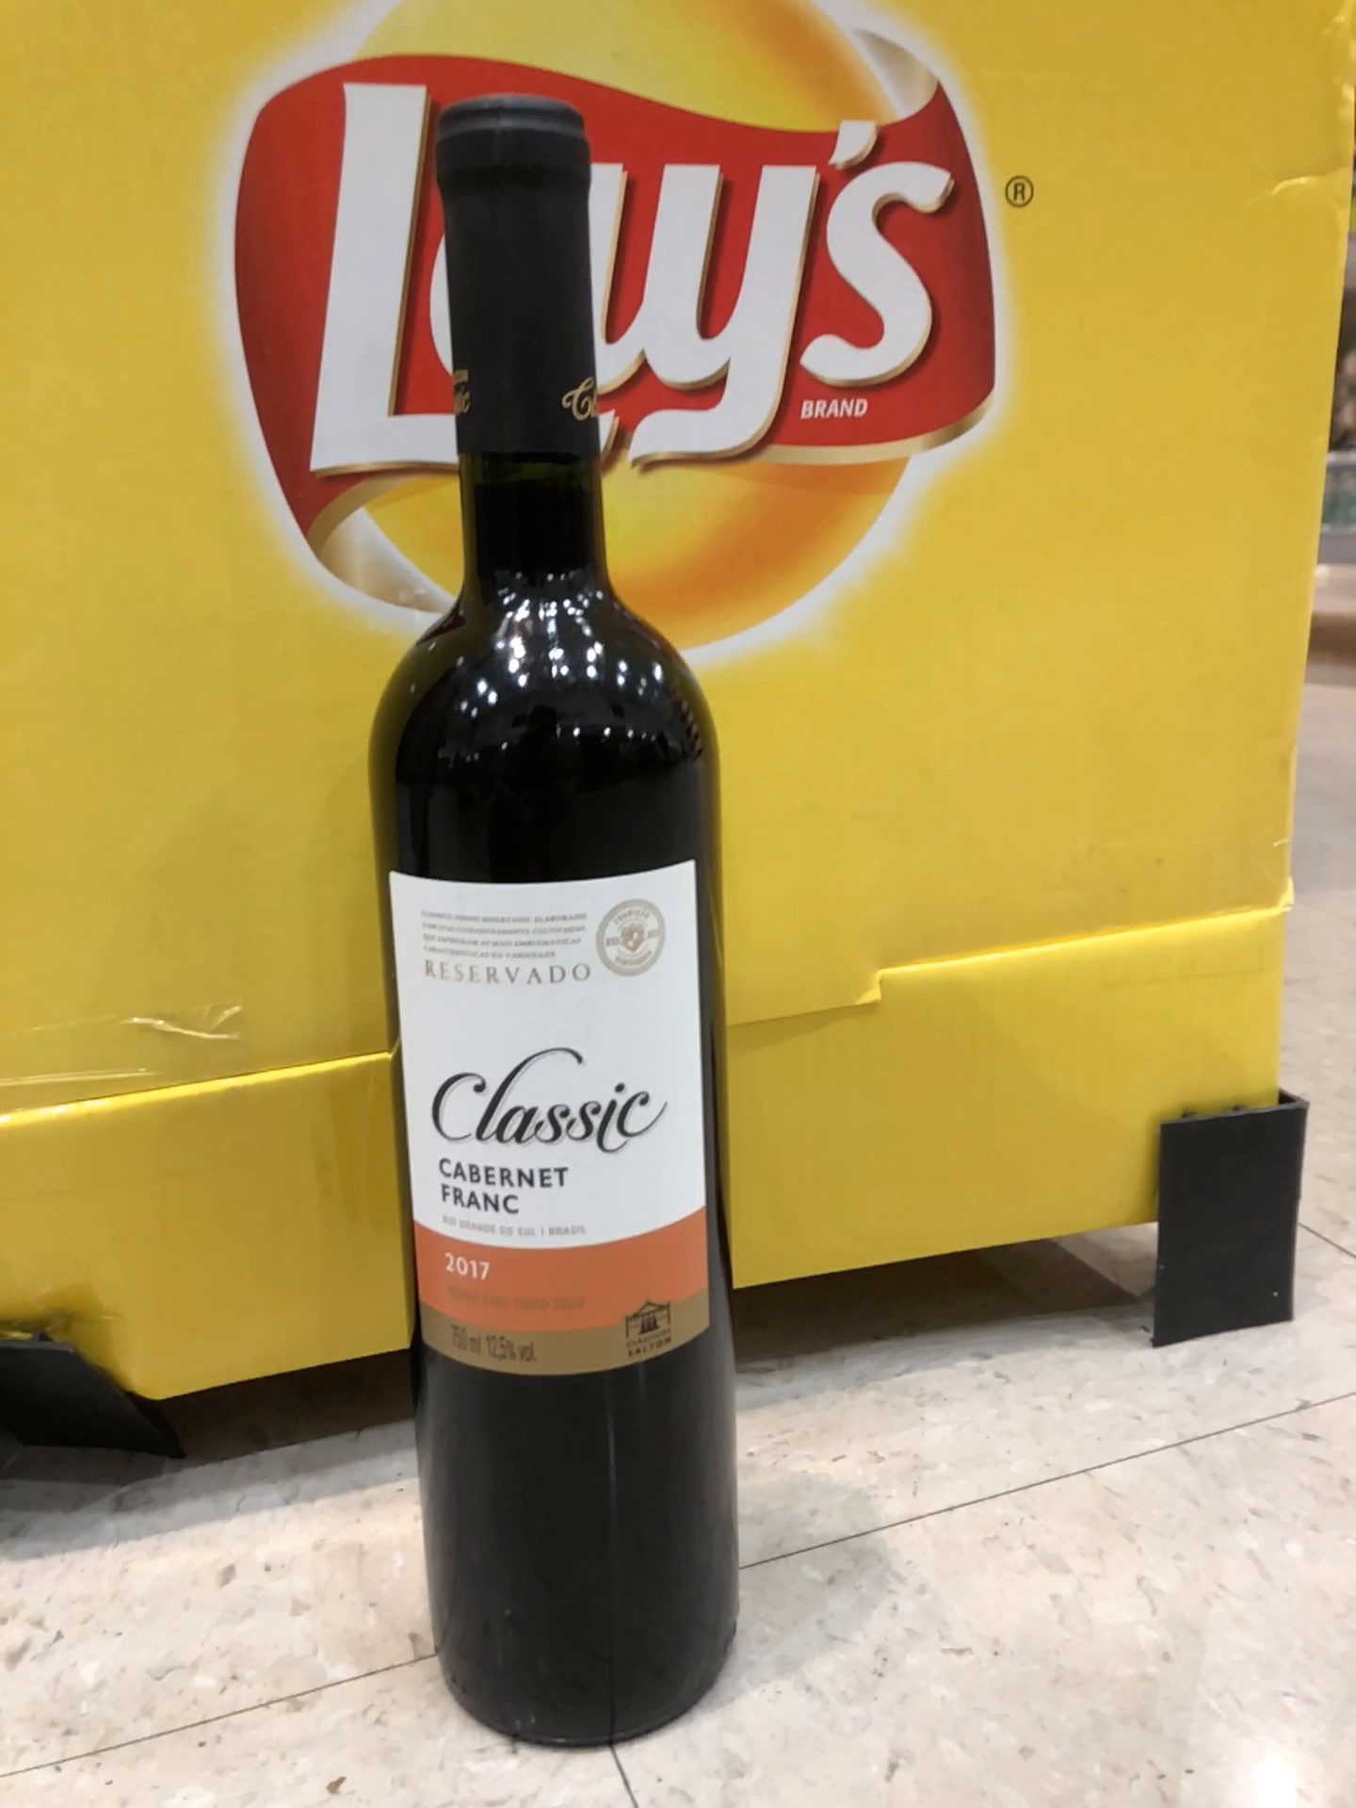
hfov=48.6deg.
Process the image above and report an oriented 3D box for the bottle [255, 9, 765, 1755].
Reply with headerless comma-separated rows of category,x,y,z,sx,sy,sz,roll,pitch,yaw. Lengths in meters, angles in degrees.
bottle,-0.023,0.011,0.299,0.070,0.318,0.060,-1,14,5
